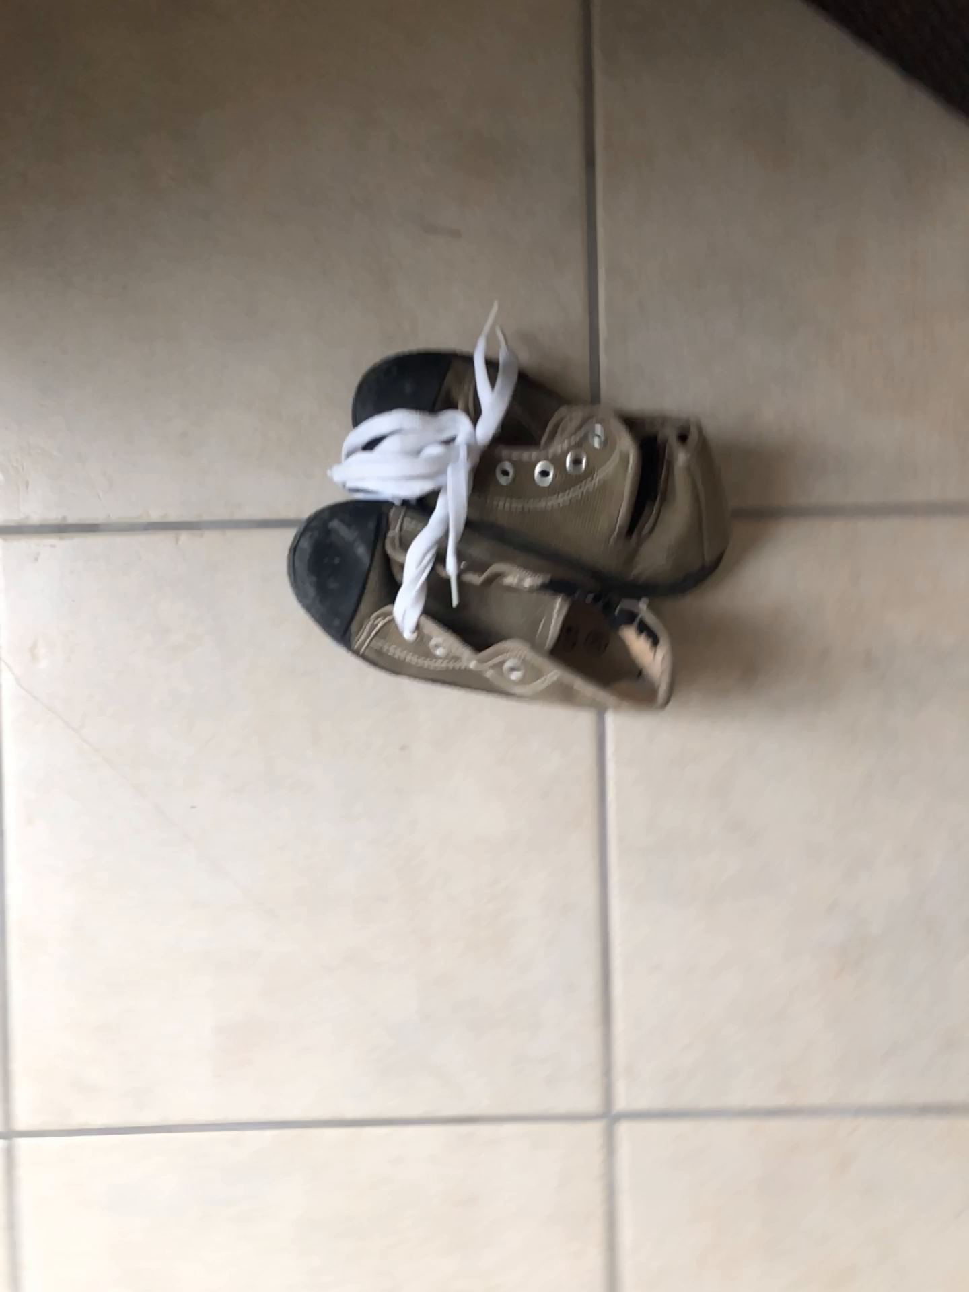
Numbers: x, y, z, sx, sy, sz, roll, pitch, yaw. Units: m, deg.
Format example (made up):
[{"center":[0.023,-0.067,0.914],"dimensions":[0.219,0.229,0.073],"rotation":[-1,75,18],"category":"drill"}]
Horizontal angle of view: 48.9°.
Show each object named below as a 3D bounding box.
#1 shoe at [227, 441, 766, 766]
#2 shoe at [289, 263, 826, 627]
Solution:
[{"center":[0.005,-0.018,0.478],"dimensions":[0.200,0.110,0.080],"rotation":[15,91,-1],"category":"shoe"},{"center":[0.029,-0.082,0.482],"dimensions":[0.200,0.110,0.080],"rotation":[21,91,-1],"category":"shoe"}]
